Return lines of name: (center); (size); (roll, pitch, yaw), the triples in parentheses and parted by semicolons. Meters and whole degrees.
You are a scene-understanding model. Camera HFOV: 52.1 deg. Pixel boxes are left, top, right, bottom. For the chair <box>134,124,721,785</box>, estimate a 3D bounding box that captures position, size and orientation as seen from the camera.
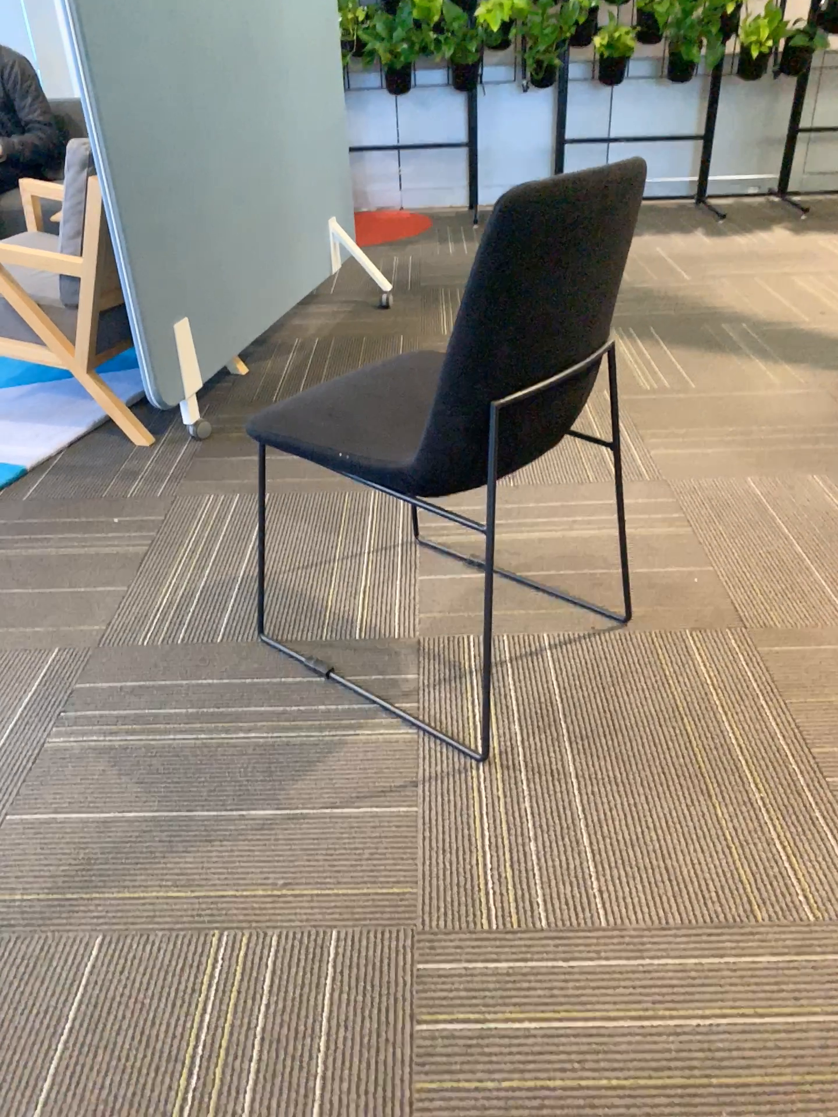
chair: (0.023, -0.204, 1.291); (0.572, 0.745, 0.491); (23, 40, 35)
